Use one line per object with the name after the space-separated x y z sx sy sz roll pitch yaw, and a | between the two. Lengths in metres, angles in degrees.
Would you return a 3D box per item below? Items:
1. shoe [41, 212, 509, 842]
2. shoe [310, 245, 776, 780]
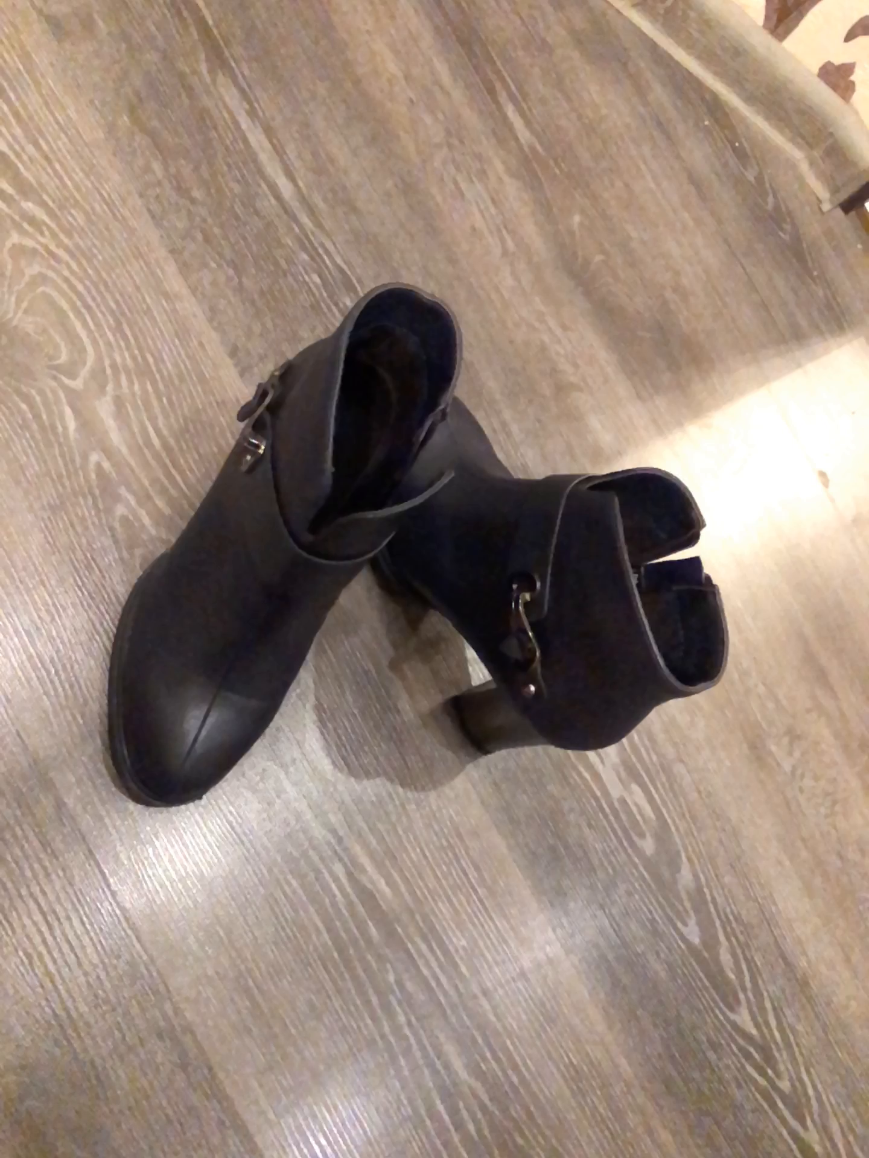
-0.077 -0.004 0.416 0.090 0.189 0.211 24 67 -18 | shoe
0.036 -0.020 0.485 0.090 0.189 0.210 -14 82 -28 | shoe
